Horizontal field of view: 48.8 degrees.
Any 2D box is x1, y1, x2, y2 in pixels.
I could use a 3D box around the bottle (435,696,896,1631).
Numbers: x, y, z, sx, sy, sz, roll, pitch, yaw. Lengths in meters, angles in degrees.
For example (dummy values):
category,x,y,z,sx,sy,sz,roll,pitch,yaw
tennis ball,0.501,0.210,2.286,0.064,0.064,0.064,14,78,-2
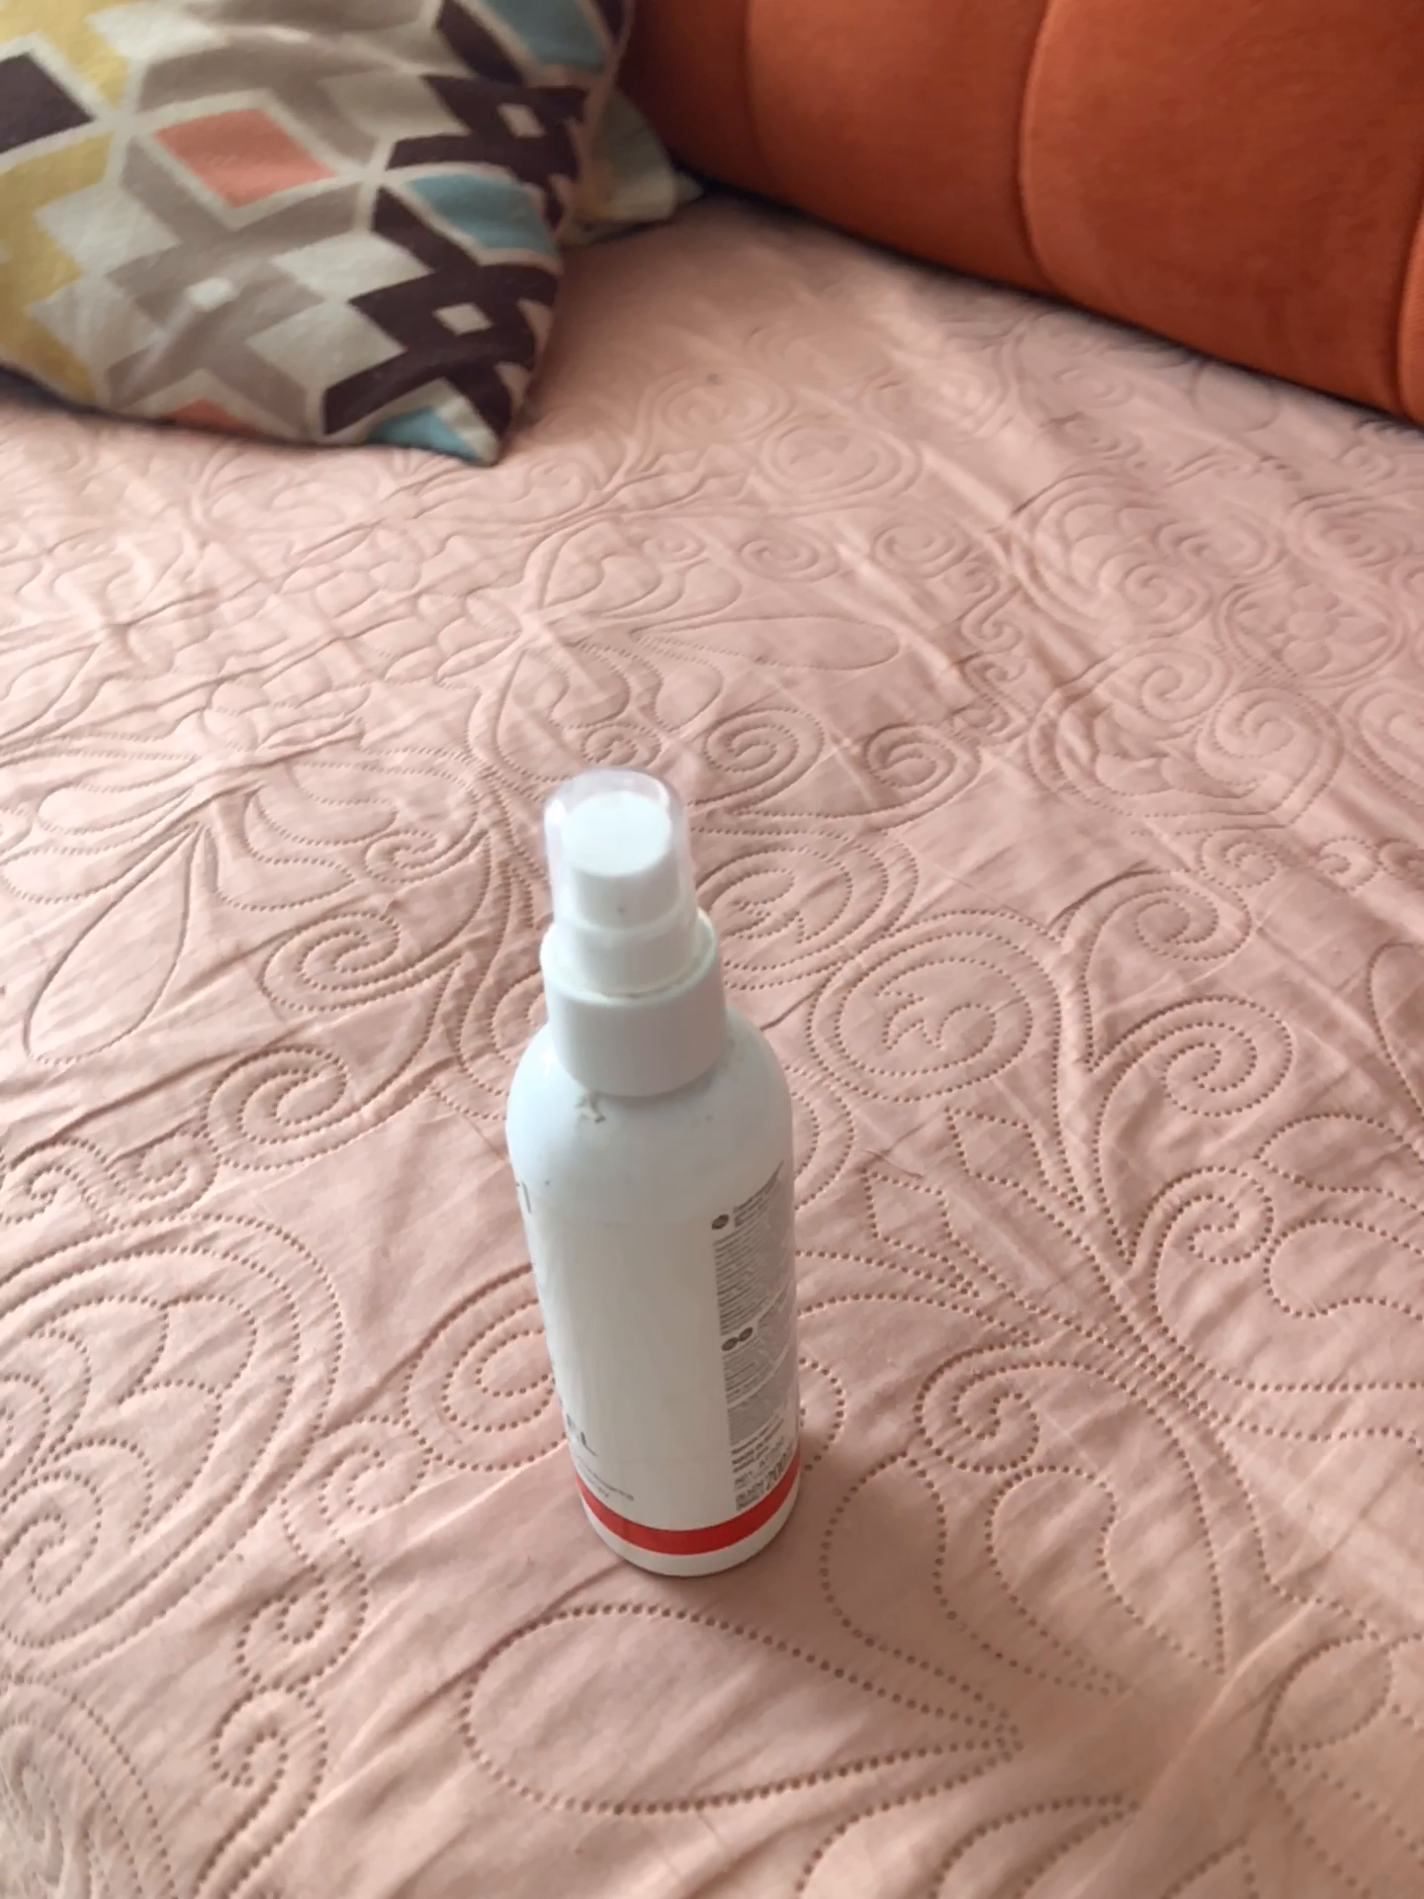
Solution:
category,x,y,z,sx,sy,sz,roll,pitch,yaw
bottle,-0.004,0.047,0.269,0.050,0.169,0.050,-2,42,2
